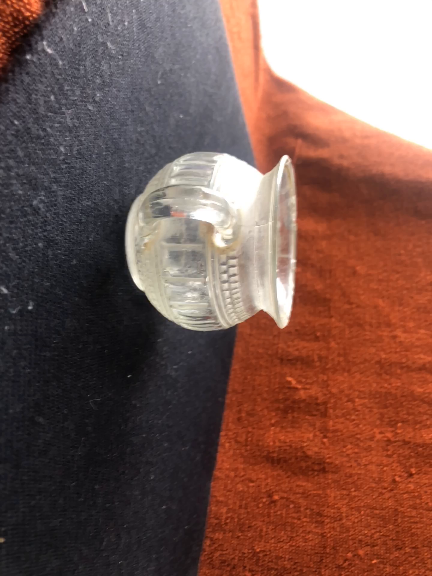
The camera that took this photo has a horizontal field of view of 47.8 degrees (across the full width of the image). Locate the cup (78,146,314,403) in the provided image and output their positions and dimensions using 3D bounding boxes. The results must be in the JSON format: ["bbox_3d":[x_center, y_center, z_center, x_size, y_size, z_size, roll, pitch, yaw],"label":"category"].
[{"bbox_3d":[0.003,-0.011,0.181,0.090,0.060,0.070,-38,128,-71],"label":"cup"}]
